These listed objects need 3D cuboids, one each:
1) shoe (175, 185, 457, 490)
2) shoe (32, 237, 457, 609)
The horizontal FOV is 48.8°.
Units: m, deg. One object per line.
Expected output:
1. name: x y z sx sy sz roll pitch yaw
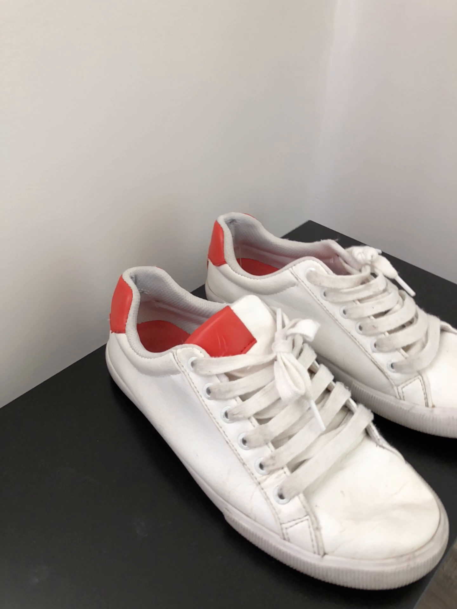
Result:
1. shoe: 0.083 0.004 0.349 0.231 0.080 0.100 28 45 29
2. shoe: 0.016 0.058 0.274 0.236 0.080 0.102 28 45 29
